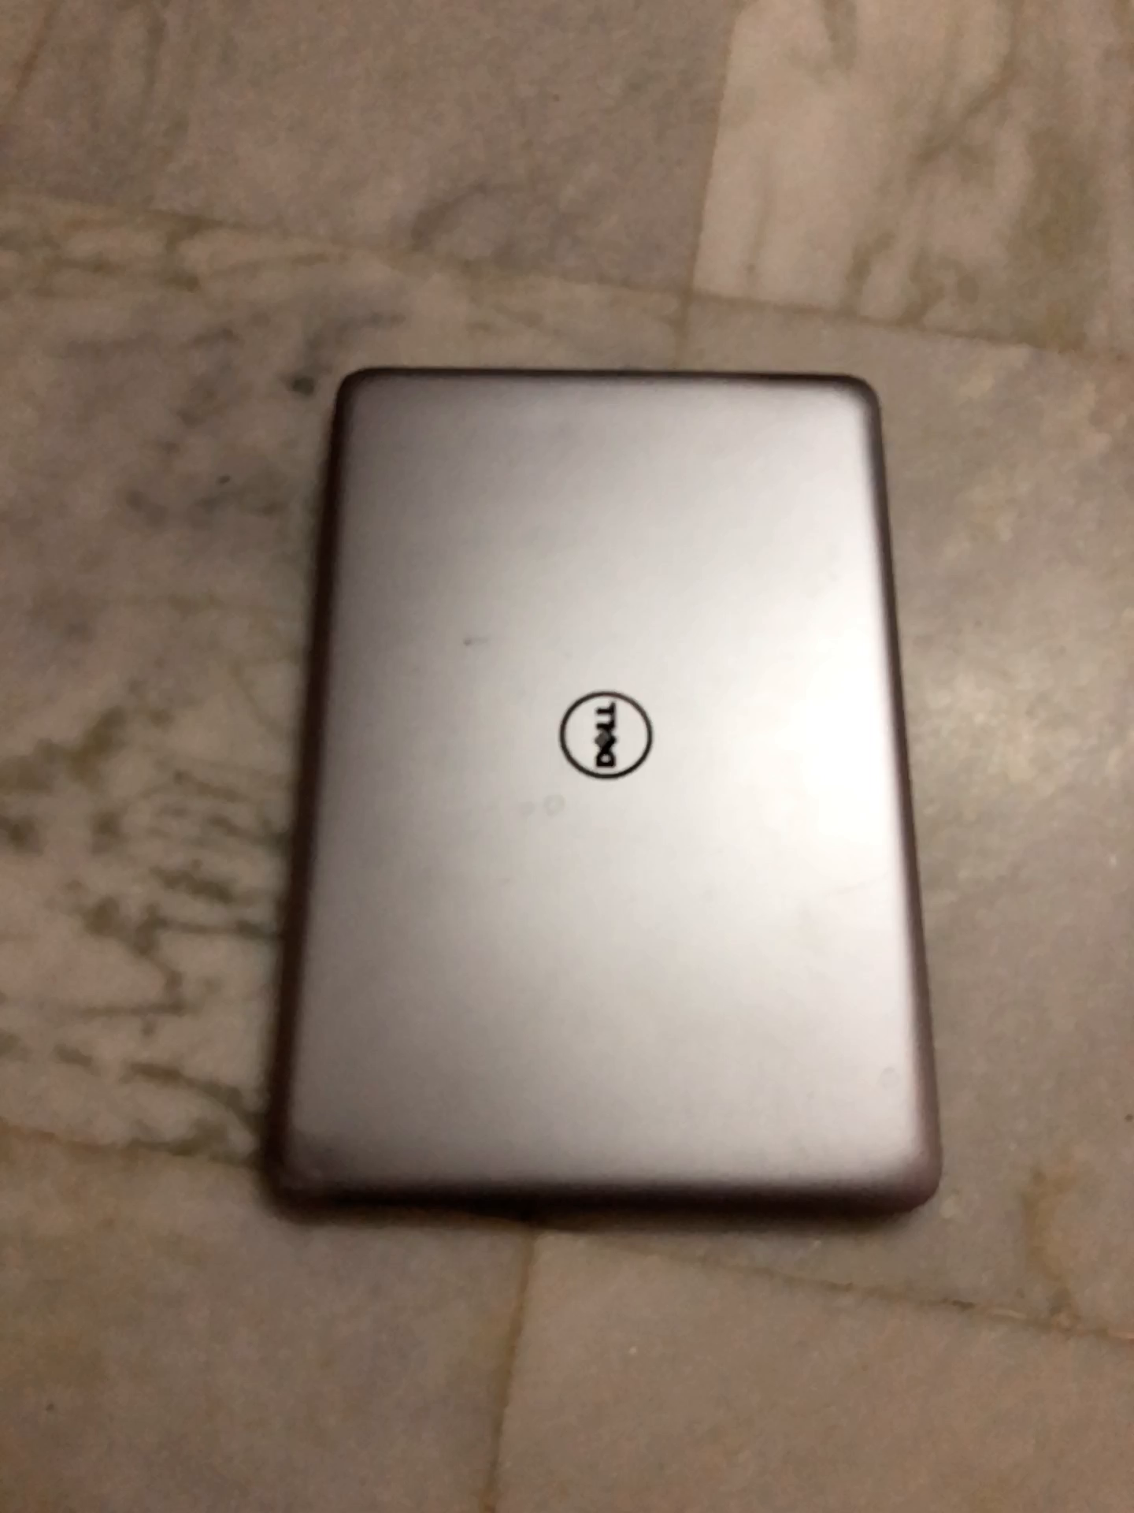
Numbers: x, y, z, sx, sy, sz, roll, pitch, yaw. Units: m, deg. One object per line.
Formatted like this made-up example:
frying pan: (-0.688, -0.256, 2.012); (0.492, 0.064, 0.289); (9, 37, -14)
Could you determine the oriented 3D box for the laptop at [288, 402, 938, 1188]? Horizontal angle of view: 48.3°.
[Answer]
laptop: (0.019, -0.001, 0.533); (0.244, 0.002, 0.346); (0, 70, -1)
